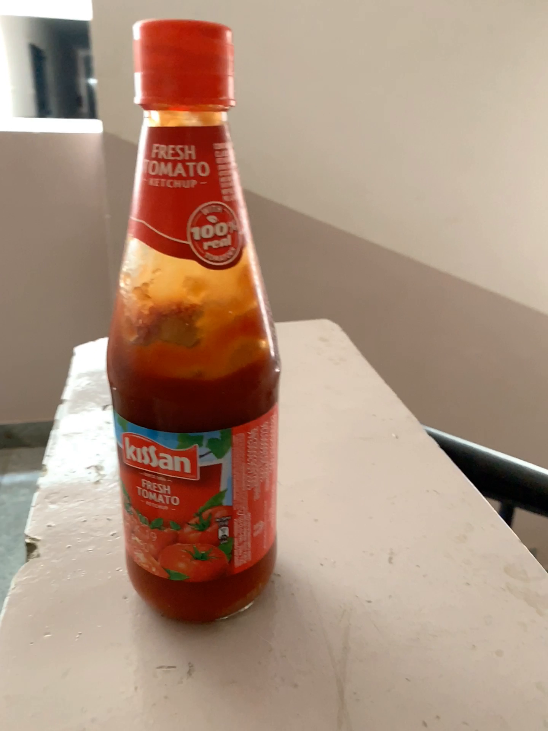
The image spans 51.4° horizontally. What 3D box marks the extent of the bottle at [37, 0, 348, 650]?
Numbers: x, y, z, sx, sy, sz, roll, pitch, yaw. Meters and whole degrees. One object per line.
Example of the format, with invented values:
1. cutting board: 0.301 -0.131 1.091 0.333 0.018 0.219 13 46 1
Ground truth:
1. bottle: -0.025 -0.010 0.221 0.070 0.218 0.070 2 23 -1
